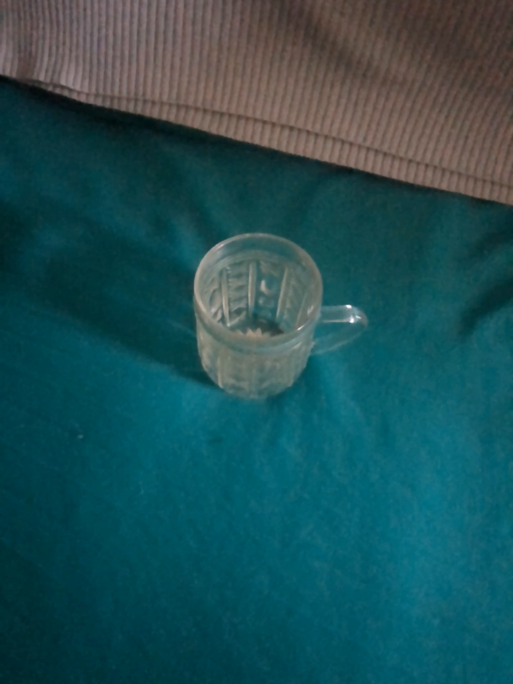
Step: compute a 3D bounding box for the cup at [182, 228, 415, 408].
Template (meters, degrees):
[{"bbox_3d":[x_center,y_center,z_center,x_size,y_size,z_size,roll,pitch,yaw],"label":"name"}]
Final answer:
[{"bbox_3d":[0.016,-0.010,0.304,0.104,0.076,0.064,-3,67,-5],"label":"cup"}]
